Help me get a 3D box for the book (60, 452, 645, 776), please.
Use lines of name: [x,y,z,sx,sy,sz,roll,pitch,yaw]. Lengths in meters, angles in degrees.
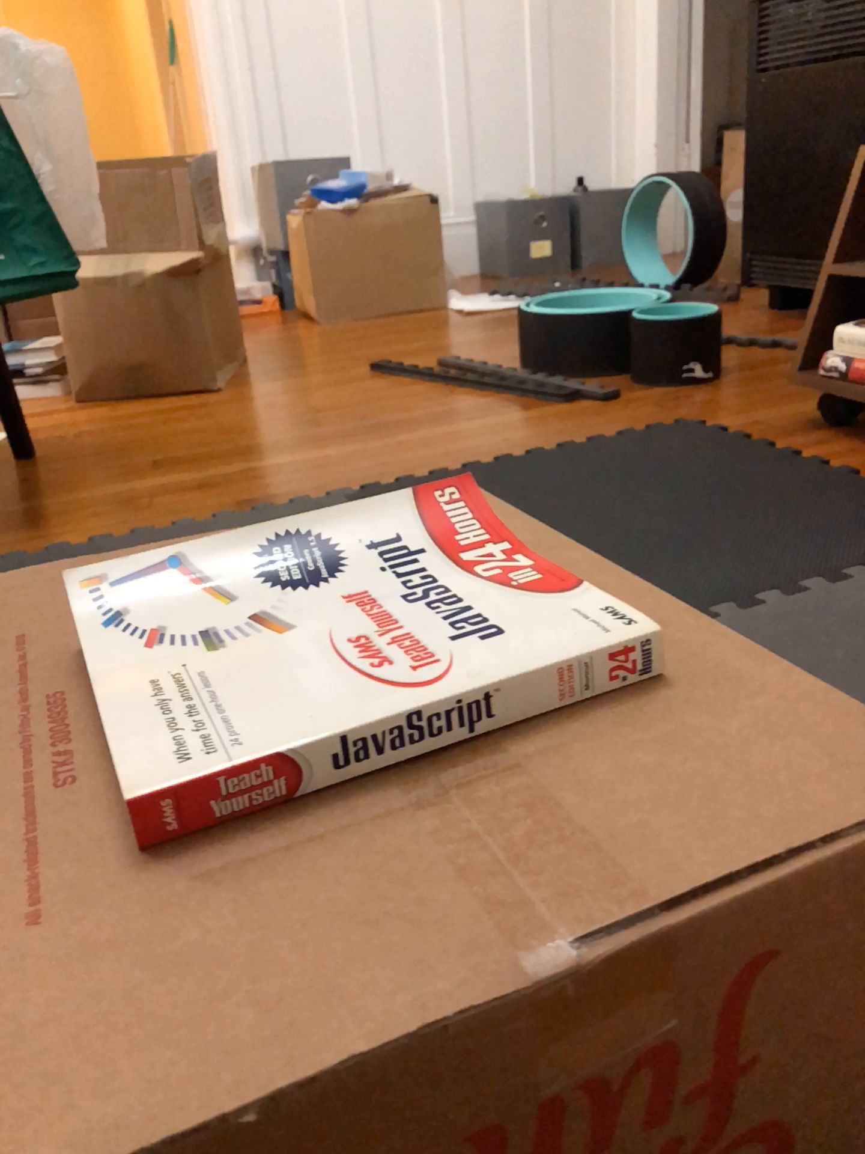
book: [-0.052,-0.002,0.485,0.240,0.030,0.201,-16,25,-20]
